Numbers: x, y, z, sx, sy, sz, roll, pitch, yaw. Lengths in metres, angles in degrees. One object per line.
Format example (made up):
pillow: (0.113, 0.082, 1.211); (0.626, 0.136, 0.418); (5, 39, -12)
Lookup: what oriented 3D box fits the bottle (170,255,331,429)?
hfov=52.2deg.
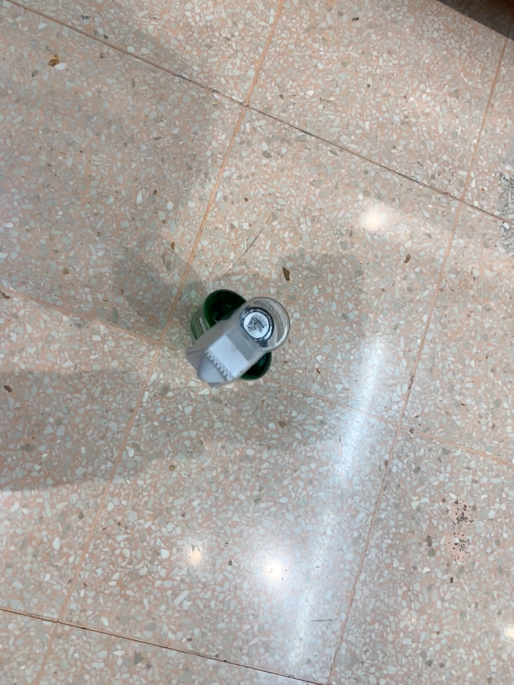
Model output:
bottle: (-0.020, 0.007, 0.449); (0.055, 0.204, 0.102); (-28, 92, -14)
